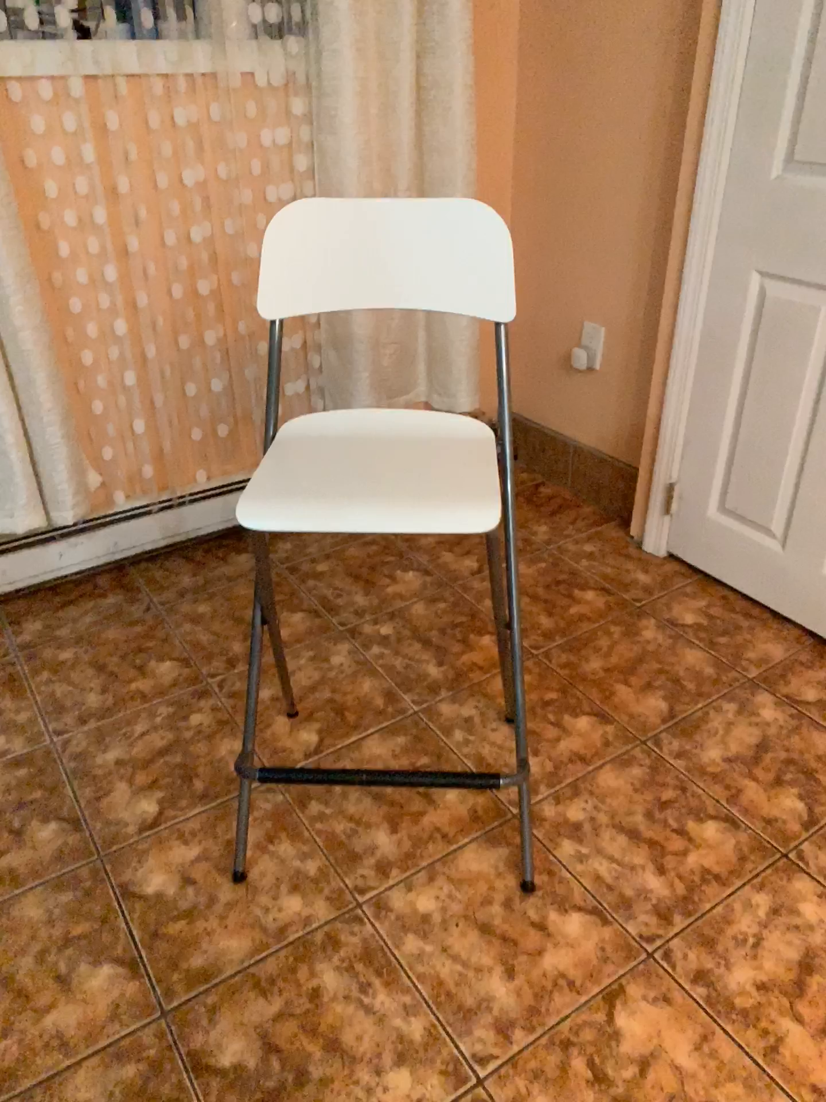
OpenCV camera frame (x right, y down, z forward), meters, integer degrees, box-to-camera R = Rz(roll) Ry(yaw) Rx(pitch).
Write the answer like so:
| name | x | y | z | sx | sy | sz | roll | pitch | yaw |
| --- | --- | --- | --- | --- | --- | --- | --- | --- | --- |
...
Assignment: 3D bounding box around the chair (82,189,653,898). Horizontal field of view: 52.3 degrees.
| name | x | y | z | sx | sy | sz | roll | pitch | yaw |
| --- | --- | --- | --- | --- | --- | --- | --- | --- | --- |
| chair | -0.054 | -0.002 | 1.371 | 0.598 | 1.006 | 0.546 | 1 | 31 | 0 |
